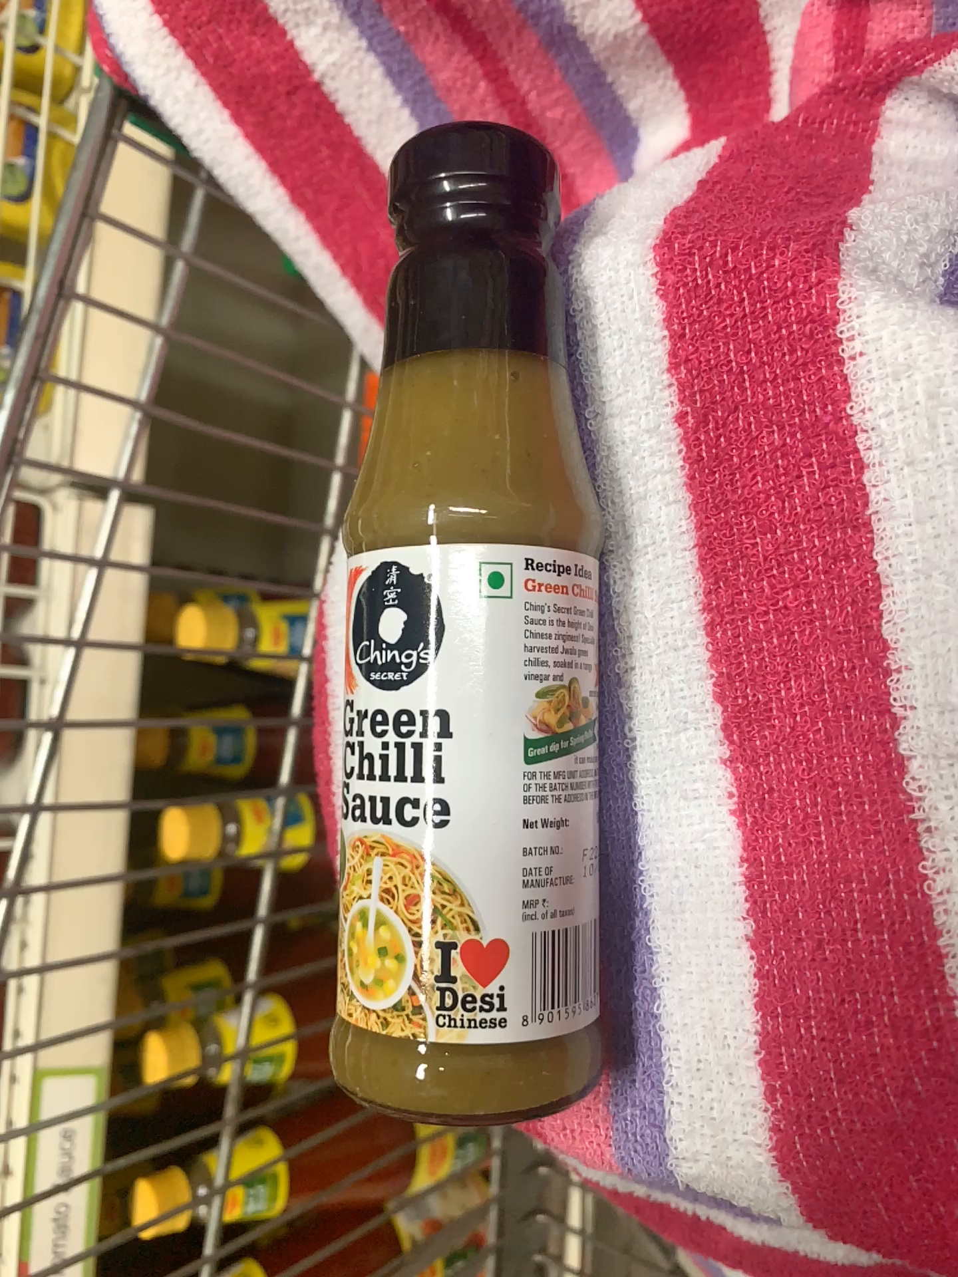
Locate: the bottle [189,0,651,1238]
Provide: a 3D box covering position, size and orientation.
[{"bbox_3d":[-0.008,-0.010,0.162,0.050,0.050,0.170,-5,82,46],"label":"bottle"}]
